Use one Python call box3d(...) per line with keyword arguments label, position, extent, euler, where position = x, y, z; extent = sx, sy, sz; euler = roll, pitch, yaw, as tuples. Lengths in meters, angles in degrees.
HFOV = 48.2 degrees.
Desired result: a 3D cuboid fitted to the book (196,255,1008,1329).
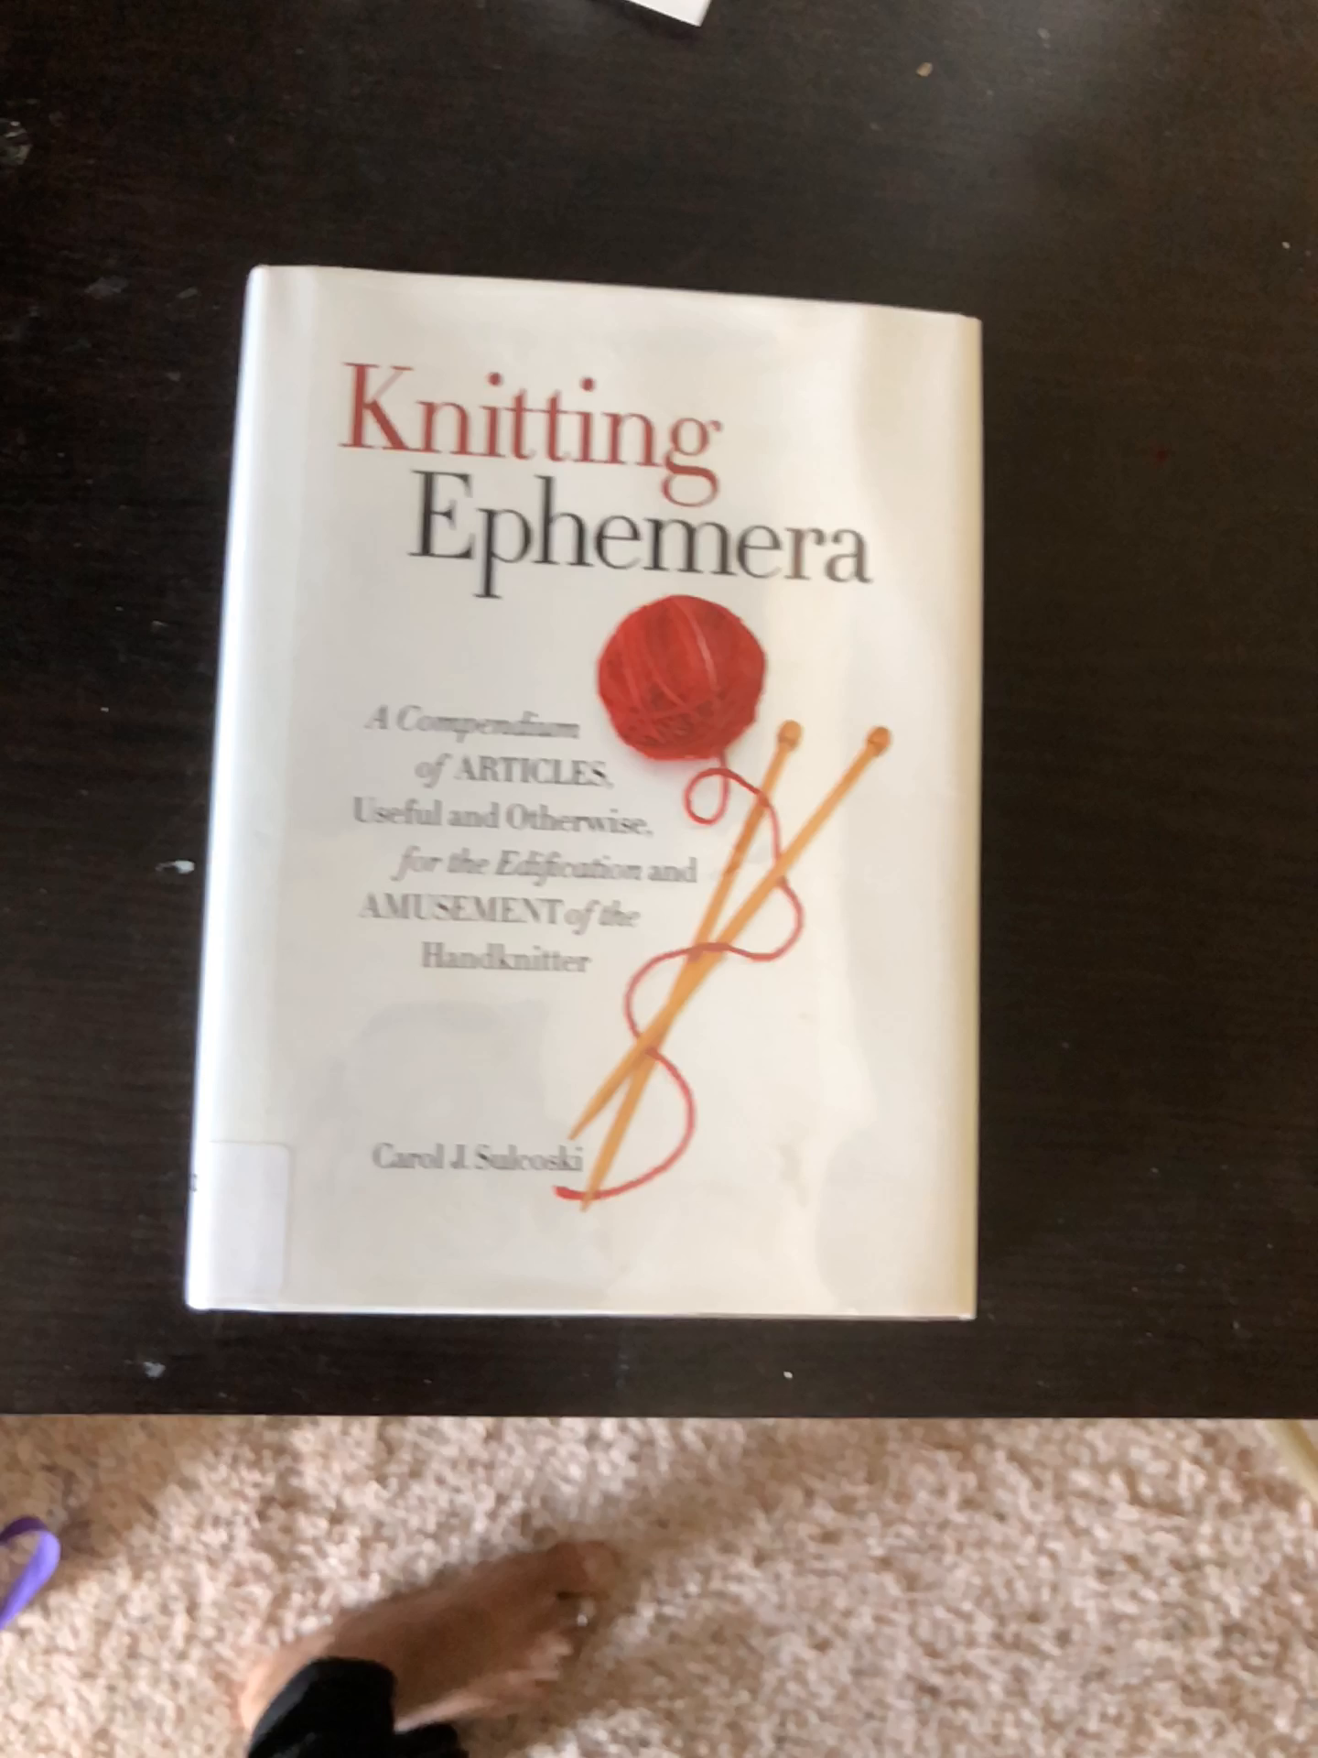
box3d(label="book", position=(-0.007, -0.014, 0.263), extent=(0.132, 0.029, 0.178), euler=(2, 85, -5))
